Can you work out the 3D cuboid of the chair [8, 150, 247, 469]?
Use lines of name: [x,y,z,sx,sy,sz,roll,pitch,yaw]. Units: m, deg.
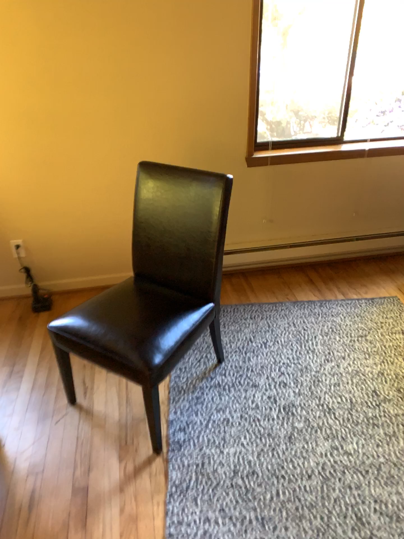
chair: [-0.224,0.126,1.742,0.561,1.034,0.672,15,34,26]
